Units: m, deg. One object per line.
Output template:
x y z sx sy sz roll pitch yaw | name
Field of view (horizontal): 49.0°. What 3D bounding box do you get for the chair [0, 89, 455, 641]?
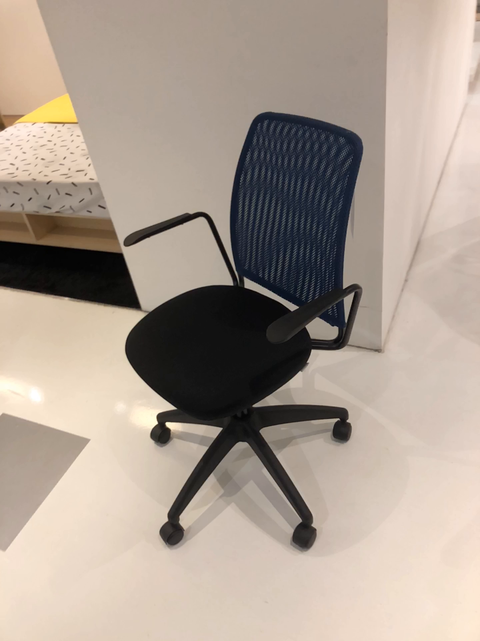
-0.030 0.065 1.280 0.701 0.923 0.664 -30 41 -23 | chair
